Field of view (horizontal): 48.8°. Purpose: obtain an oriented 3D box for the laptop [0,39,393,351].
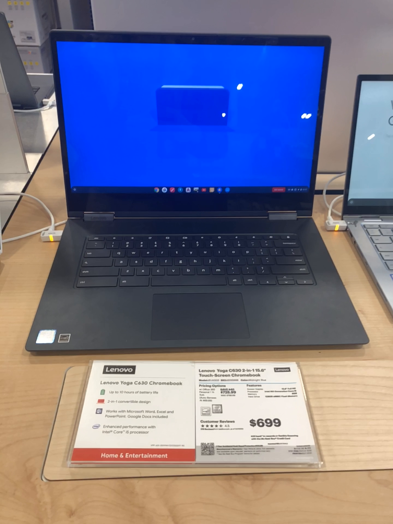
[{"bbox_3d":[0.008,-0.094,0.487,0.343,0.230,0.293,-1,37,-1],"label":"laptop"}]
